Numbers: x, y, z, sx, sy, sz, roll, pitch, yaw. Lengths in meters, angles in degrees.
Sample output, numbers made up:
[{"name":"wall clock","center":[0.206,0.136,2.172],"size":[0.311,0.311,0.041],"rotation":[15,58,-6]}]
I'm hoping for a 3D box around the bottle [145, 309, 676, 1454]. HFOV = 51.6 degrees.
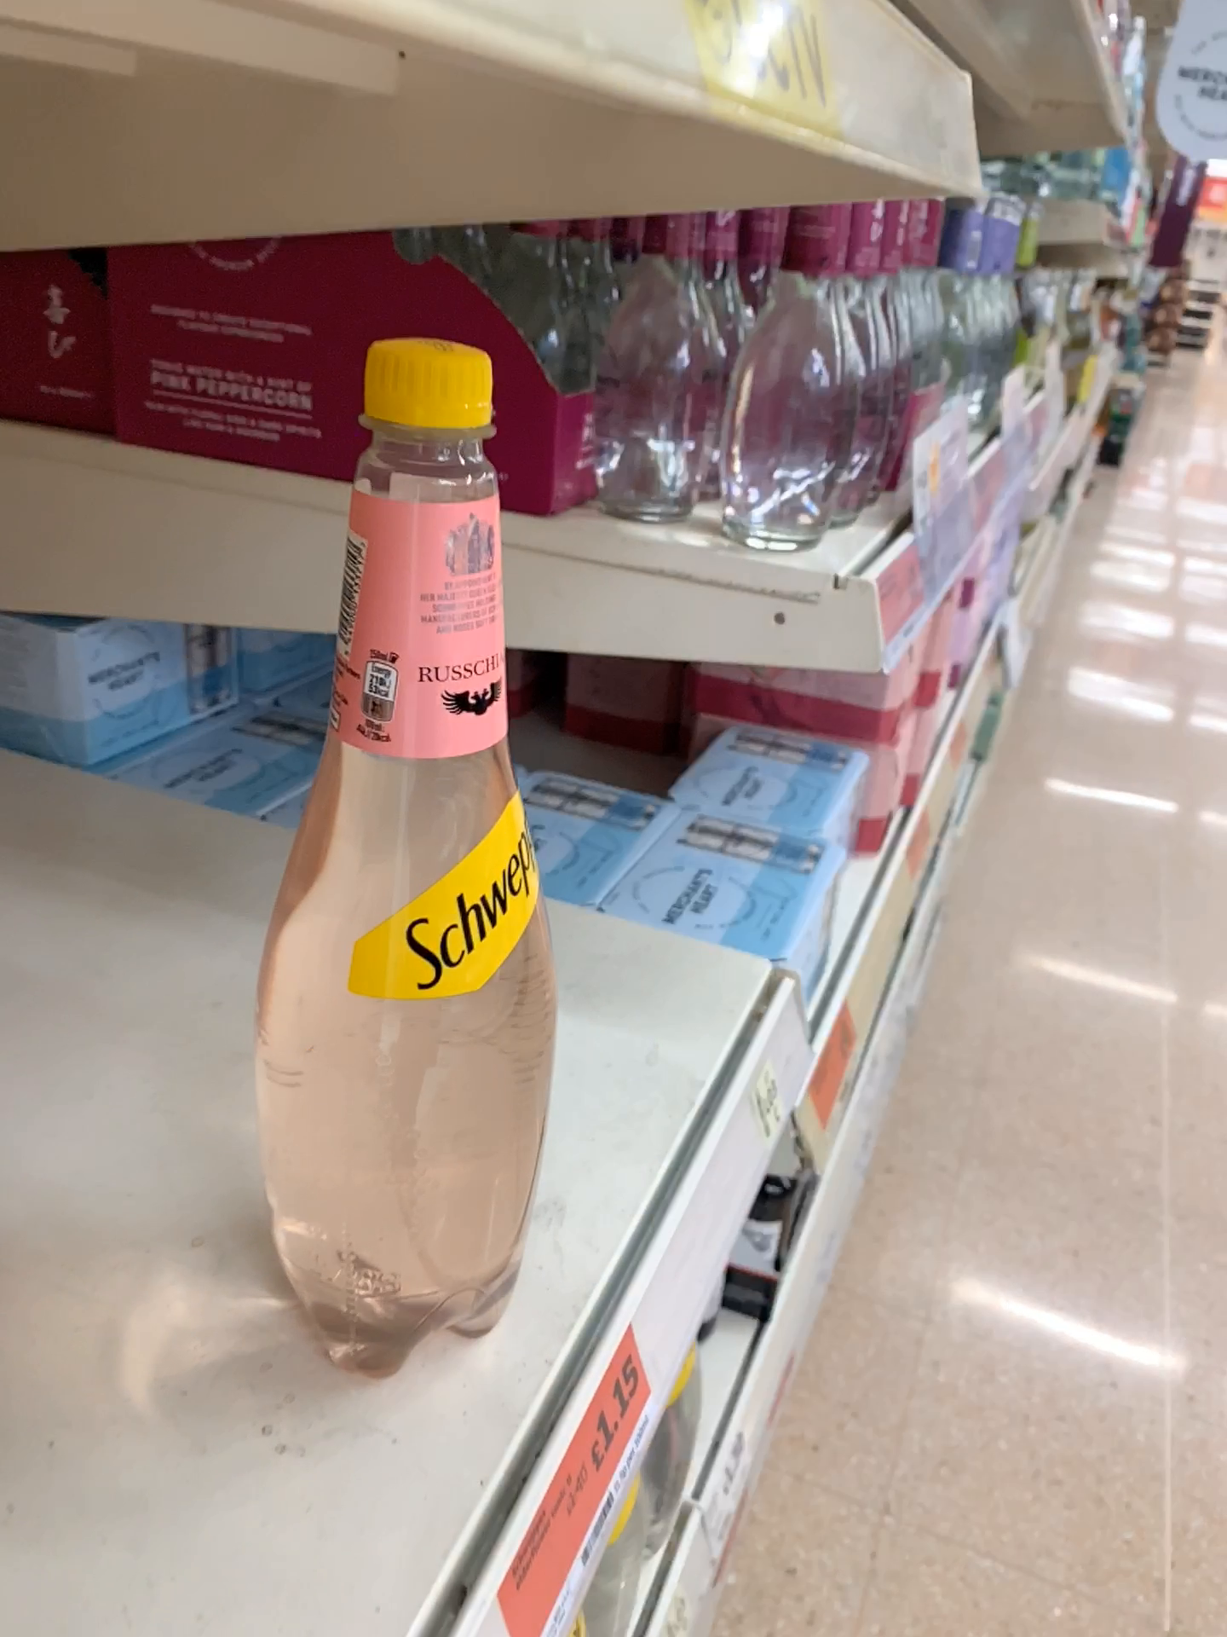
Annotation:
[{"name":"bottle","center":[-0.059,0.022,0.360],"size":[0.090,0.299,0.085],"rotation":[5,25,-2]}]
